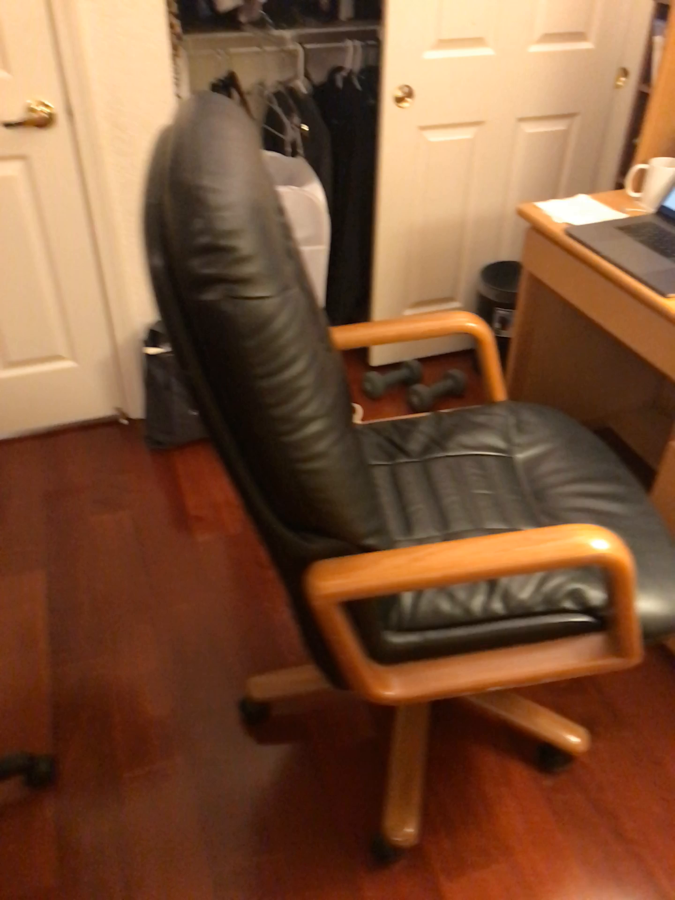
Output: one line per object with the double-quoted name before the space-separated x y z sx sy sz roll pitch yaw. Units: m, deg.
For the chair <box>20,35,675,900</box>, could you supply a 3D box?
"chair" 0.133 -0.009 1.303 0.850 1.141 0.997 -3 38 -5
